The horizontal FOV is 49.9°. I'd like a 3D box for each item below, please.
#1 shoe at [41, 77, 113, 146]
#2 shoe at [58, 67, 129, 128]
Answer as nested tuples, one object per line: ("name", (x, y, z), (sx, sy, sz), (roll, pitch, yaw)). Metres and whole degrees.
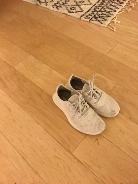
("shoe", (0.025, 0.069, 0.612), (0.120, 0.070, 0.281), (-40, 62, -21))
("shoe", (0.095, 0.013, 0.642), (0.271, 0.070, 0.120), (35, 65, 25))
